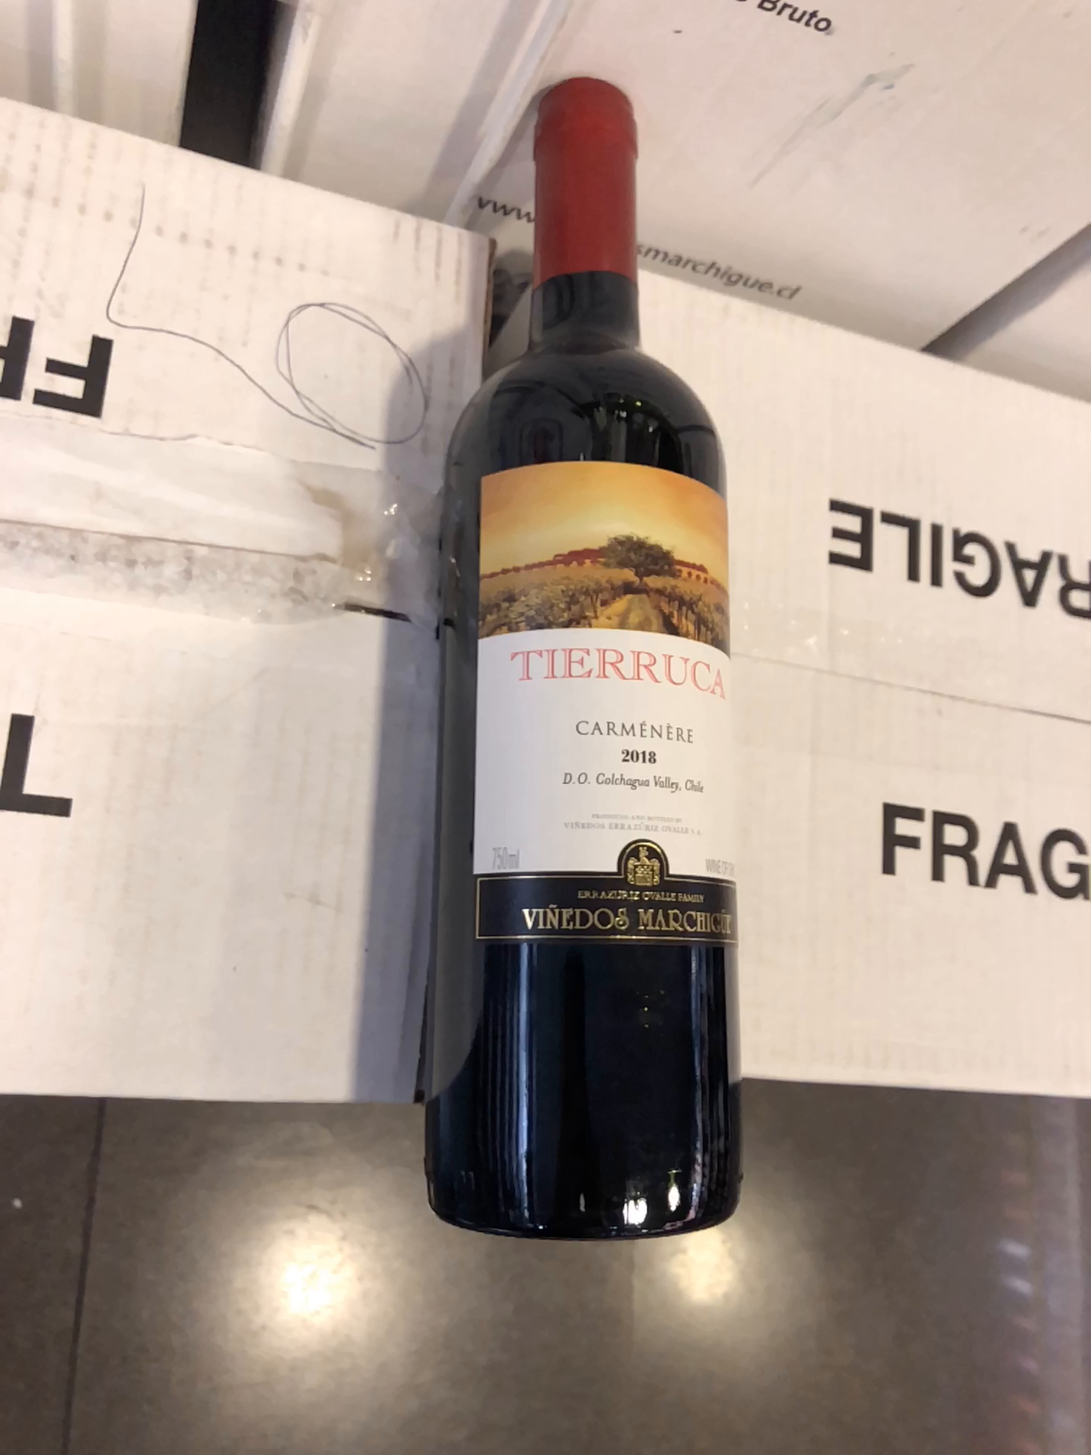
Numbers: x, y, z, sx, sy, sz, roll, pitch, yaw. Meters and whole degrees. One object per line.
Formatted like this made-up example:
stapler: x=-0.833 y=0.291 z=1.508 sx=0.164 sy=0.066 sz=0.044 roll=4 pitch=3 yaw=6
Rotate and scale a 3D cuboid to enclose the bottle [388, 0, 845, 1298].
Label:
bottle: x=0.015 y=-0.038 z=0.314 sx=0.080 sy=0.080 sz=0.320 roll=6 pitch=78 yaw=-20
